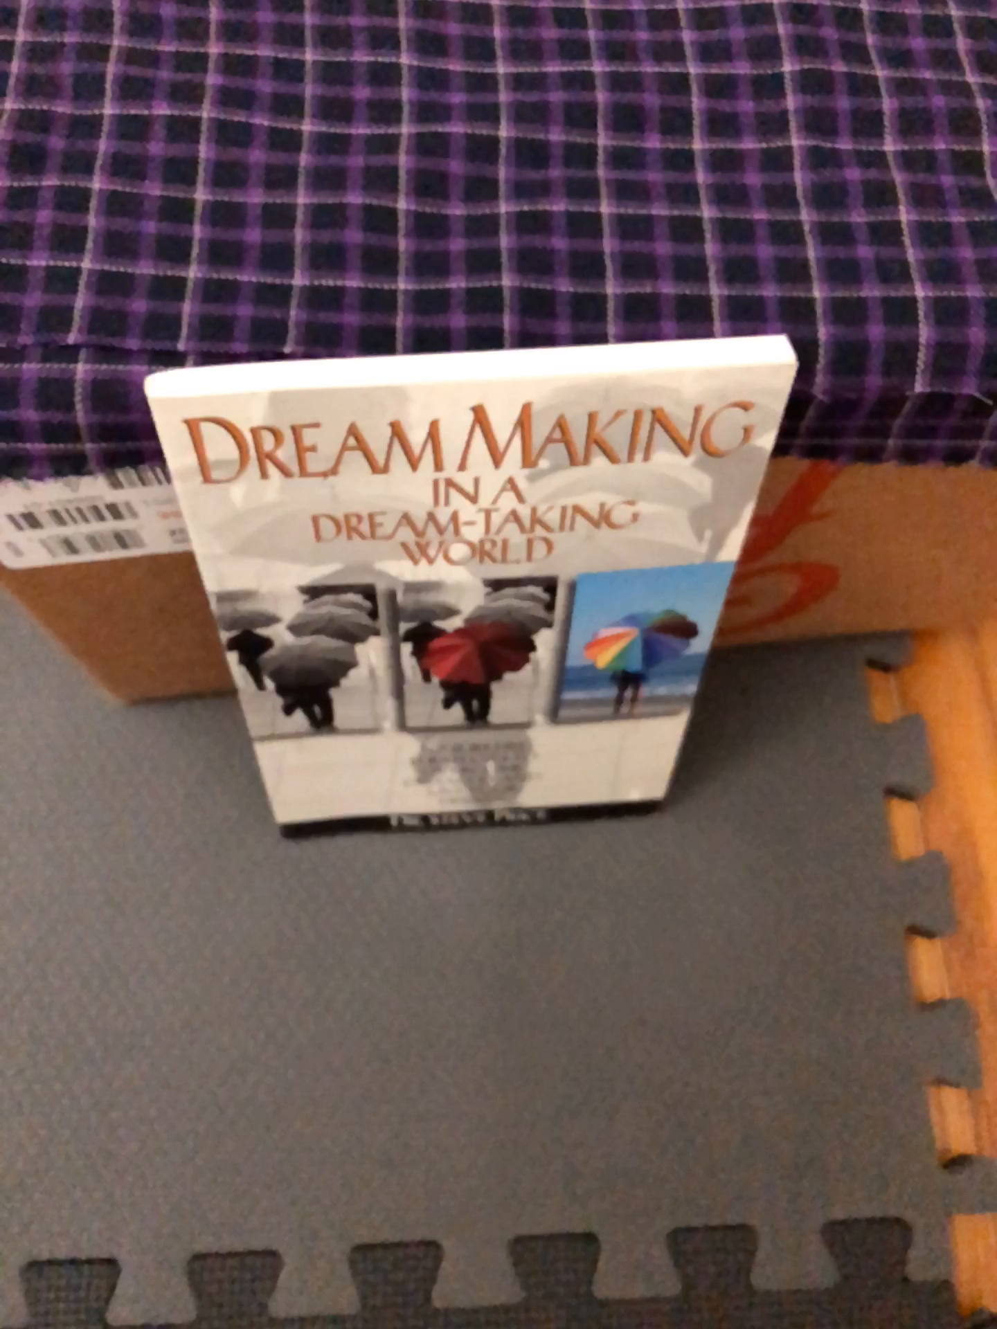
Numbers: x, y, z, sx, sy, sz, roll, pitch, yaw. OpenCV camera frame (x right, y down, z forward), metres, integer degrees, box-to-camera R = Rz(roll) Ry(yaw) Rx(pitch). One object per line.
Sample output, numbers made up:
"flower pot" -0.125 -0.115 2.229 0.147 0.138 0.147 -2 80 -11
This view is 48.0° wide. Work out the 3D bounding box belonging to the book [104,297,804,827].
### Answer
"book" -0.010 -0.011 0.336 0.150 0.219 0.020 -2 56 -2
